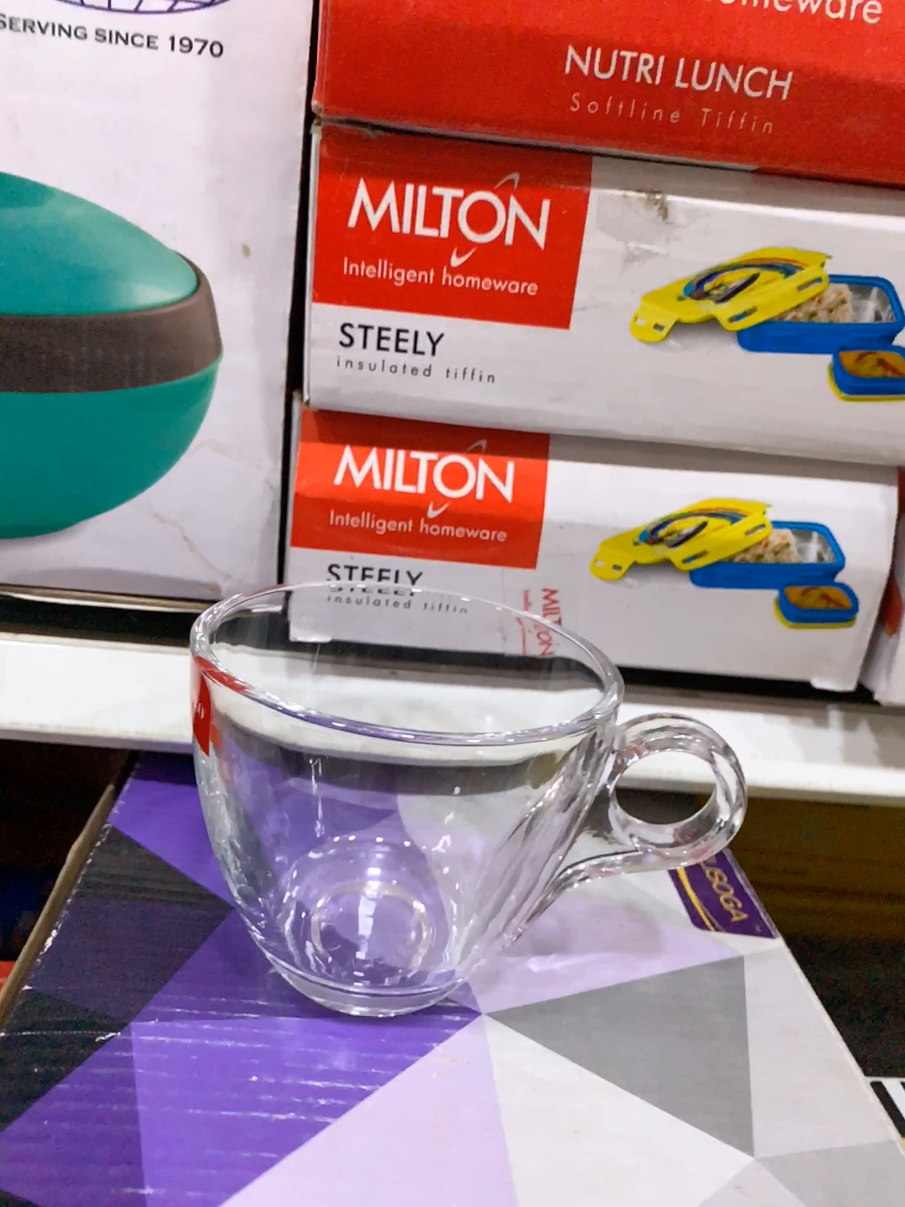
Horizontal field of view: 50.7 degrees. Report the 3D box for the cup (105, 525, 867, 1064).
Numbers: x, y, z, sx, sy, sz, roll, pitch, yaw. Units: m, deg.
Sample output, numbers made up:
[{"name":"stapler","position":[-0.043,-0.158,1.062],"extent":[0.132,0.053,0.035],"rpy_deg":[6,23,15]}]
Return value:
[{"name":"cup","position":[0.002,0.030,0.185],"extent":[0.110,0.060,0.081],"rpy_deg":[5,21,-4]}]
